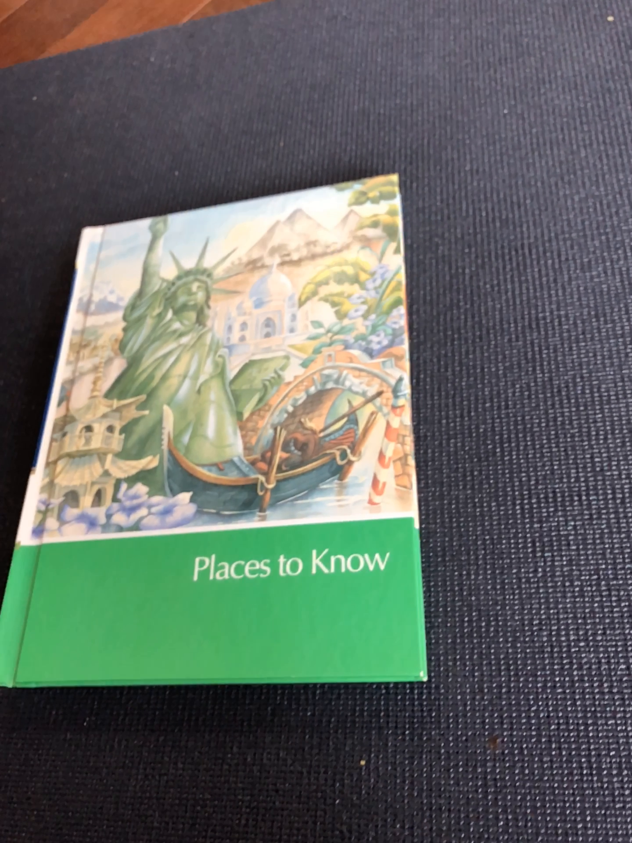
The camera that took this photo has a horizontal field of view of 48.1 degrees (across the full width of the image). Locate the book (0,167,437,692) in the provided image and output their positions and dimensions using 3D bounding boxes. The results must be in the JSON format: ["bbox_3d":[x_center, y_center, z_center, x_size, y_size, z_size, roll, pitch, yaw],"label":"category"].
[{"bbox_3d":[-0.047,-0.006,0.342,0.190,0.030,0.250,-6,61,12],"label":"book"}]
